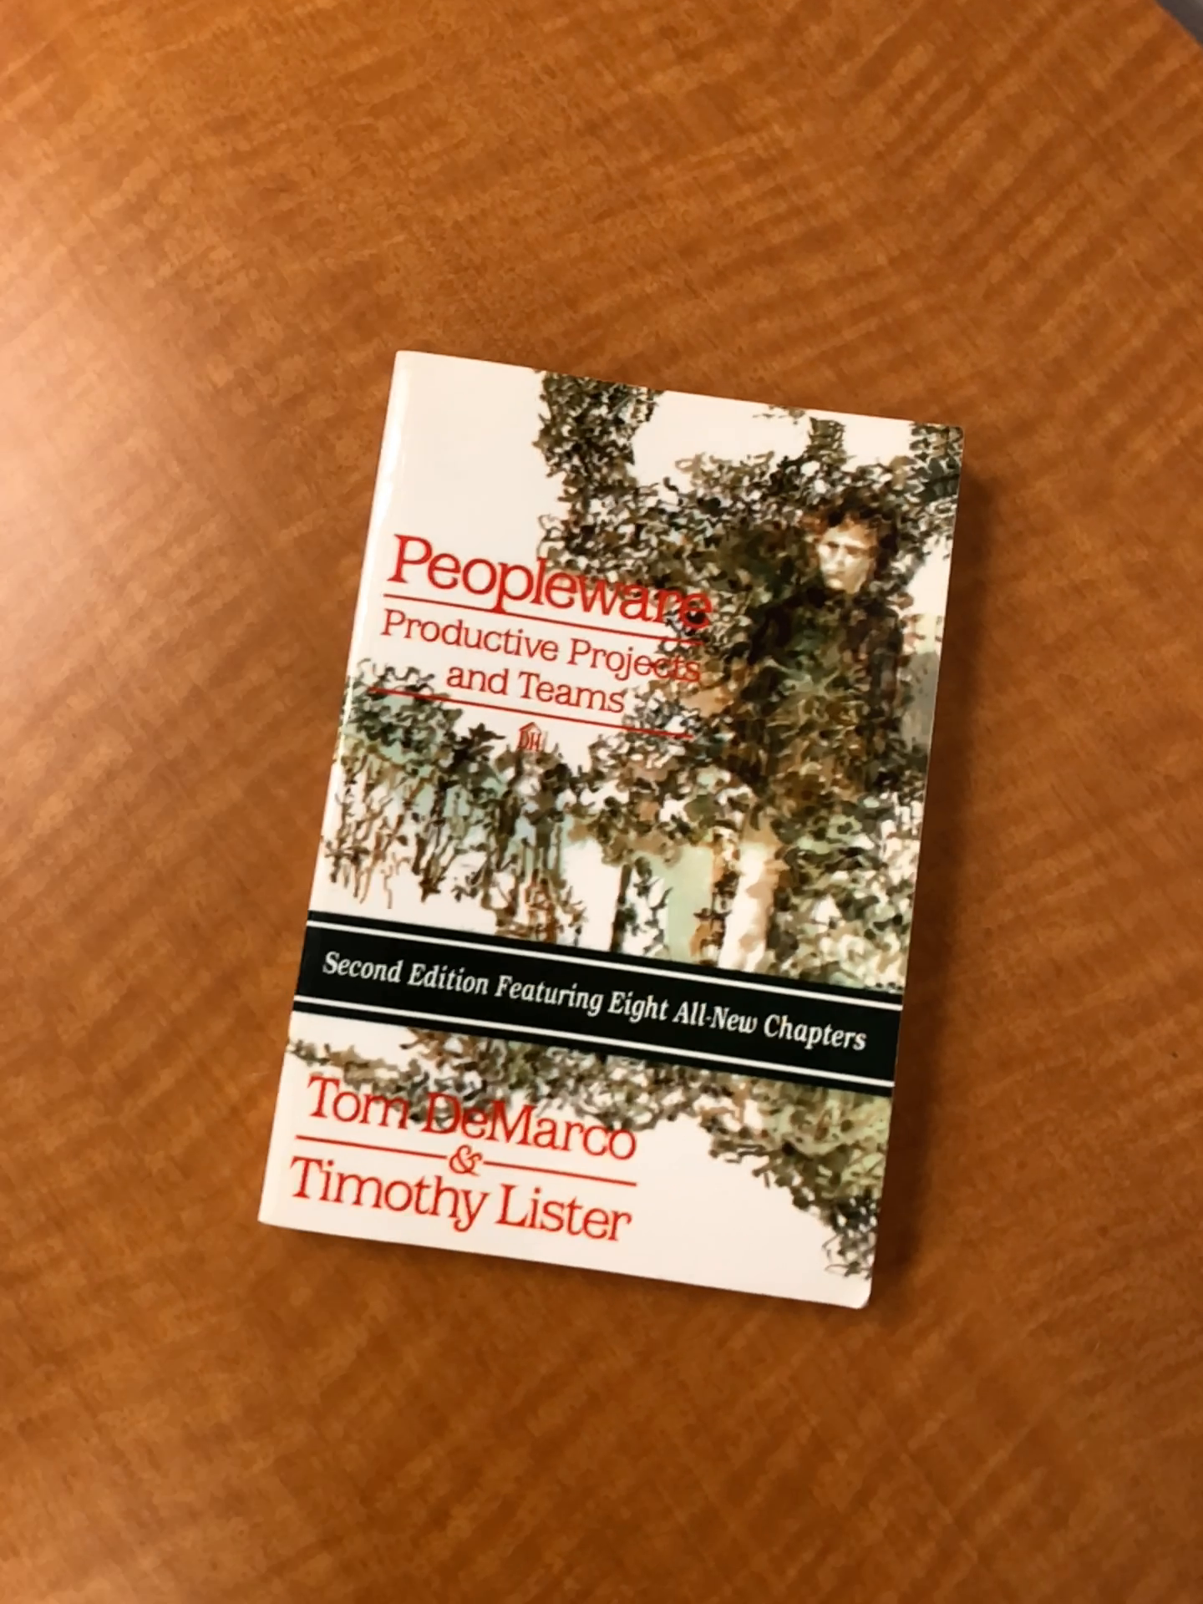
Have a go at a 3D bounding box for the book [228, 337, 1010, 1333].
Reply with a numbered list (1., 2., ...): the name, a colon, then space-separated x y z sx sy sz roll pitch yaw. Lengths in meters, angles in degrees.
1. book: 0.008 0.006 0.344 0.160 0.050 0.220 8 82 -1
